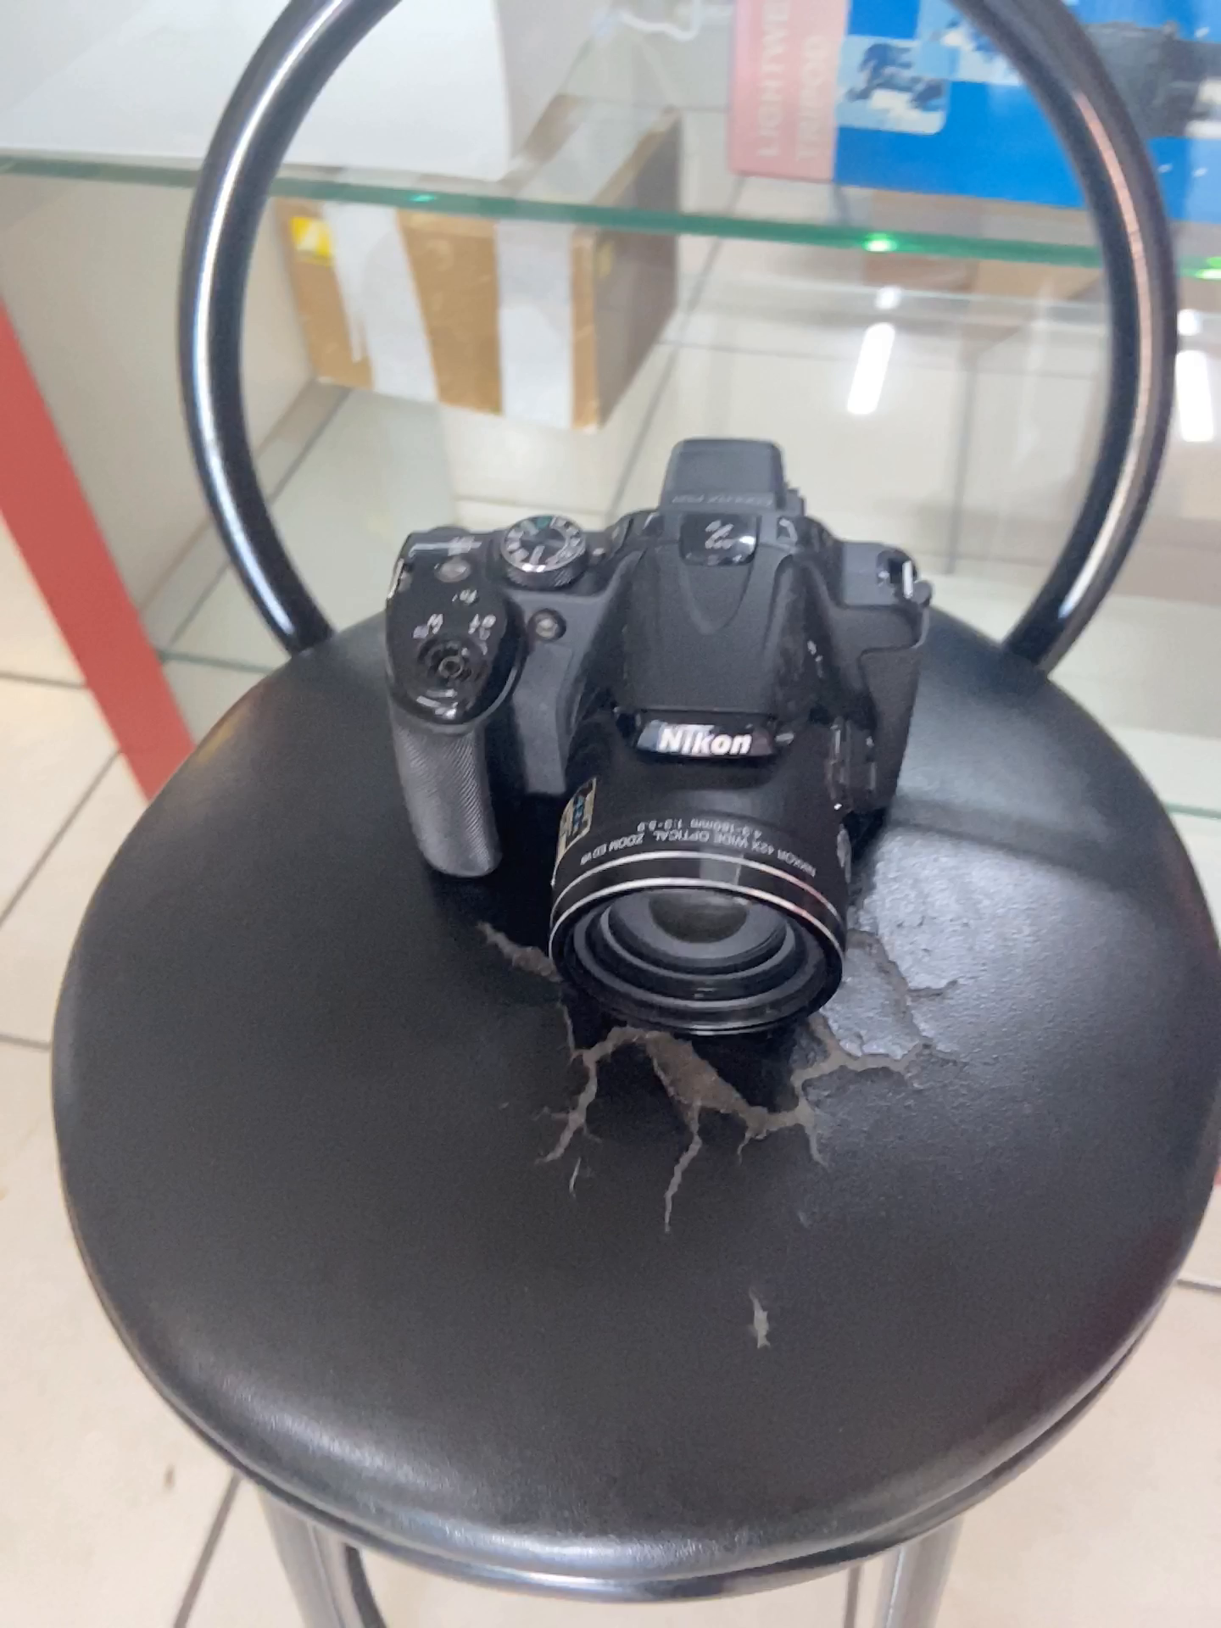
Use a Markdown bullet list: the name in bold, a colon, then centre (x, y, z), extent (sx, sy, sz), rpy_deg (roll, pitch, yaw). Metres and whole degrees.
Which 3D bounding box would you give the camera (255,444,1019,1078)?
- **camera**: centre (0.010, -0.017, 0.281), extent (0.130, 0.070, 0.121), rpy_deg (2, 49, 6)
